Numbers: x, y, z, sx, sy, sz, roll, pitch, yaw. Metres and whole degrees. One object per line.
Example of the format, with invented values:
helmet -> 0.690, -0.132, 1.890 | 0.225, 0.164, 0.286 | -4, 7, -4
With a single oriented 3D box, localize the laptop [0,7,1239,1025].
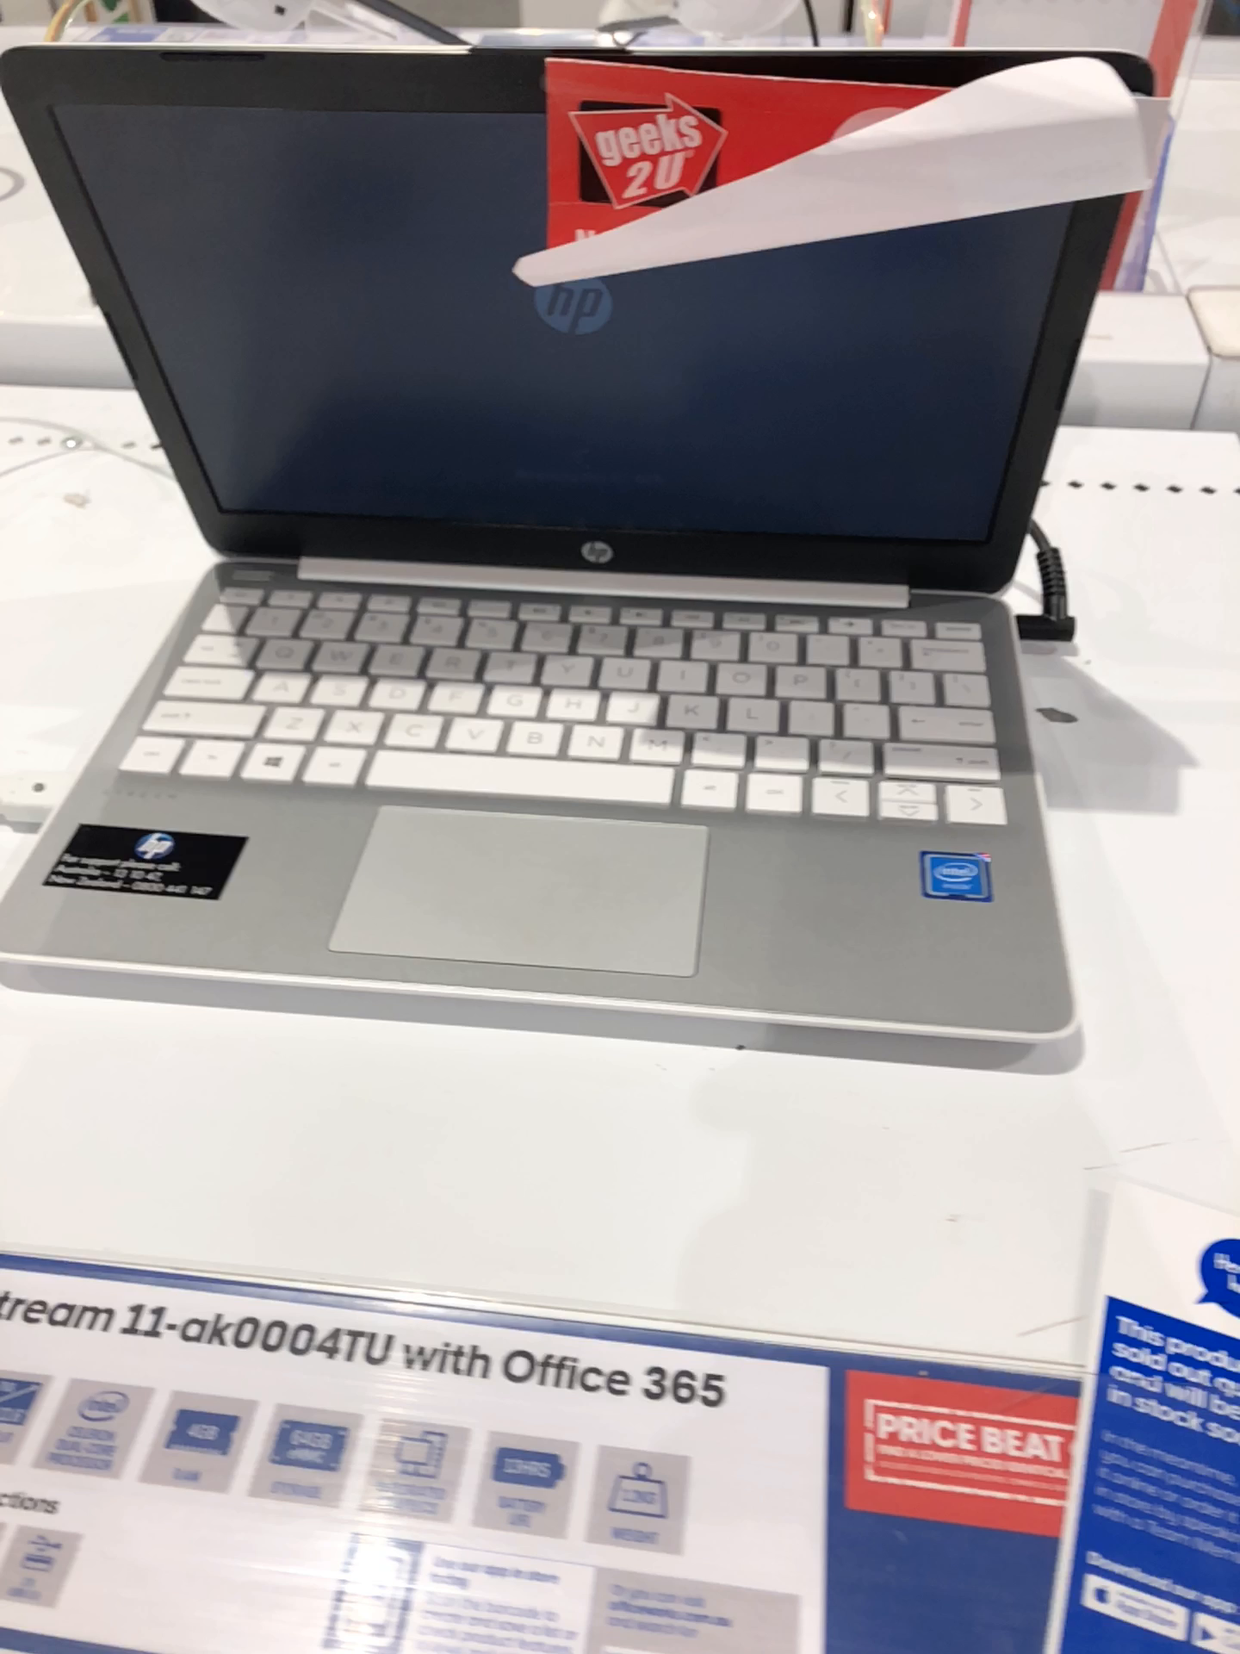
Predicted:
laptop -> -0.019, -0.086, 0.349 | 0.273, 0.173, 0.184 | 3, 43, 5
